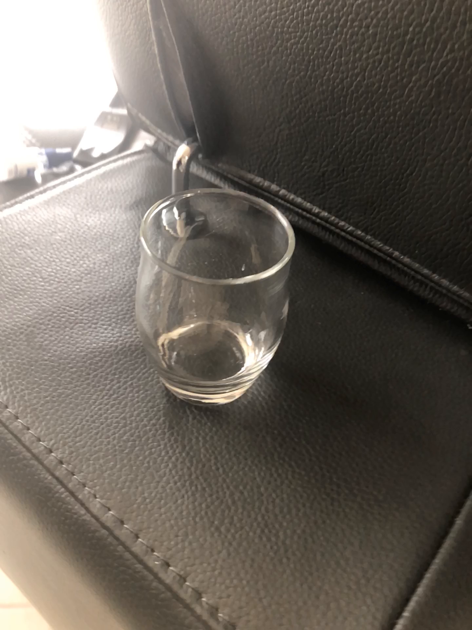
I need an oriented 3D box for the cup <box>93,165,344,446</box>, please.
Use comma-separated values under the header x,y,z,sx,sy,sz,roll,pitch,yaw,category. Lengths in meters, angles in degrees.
x,y,z,sx,sy,sz,roll,pitch,yaw,category
-0.012,-0.007,0.265,0.080,0.089,0.080,4,45,-4,cup
